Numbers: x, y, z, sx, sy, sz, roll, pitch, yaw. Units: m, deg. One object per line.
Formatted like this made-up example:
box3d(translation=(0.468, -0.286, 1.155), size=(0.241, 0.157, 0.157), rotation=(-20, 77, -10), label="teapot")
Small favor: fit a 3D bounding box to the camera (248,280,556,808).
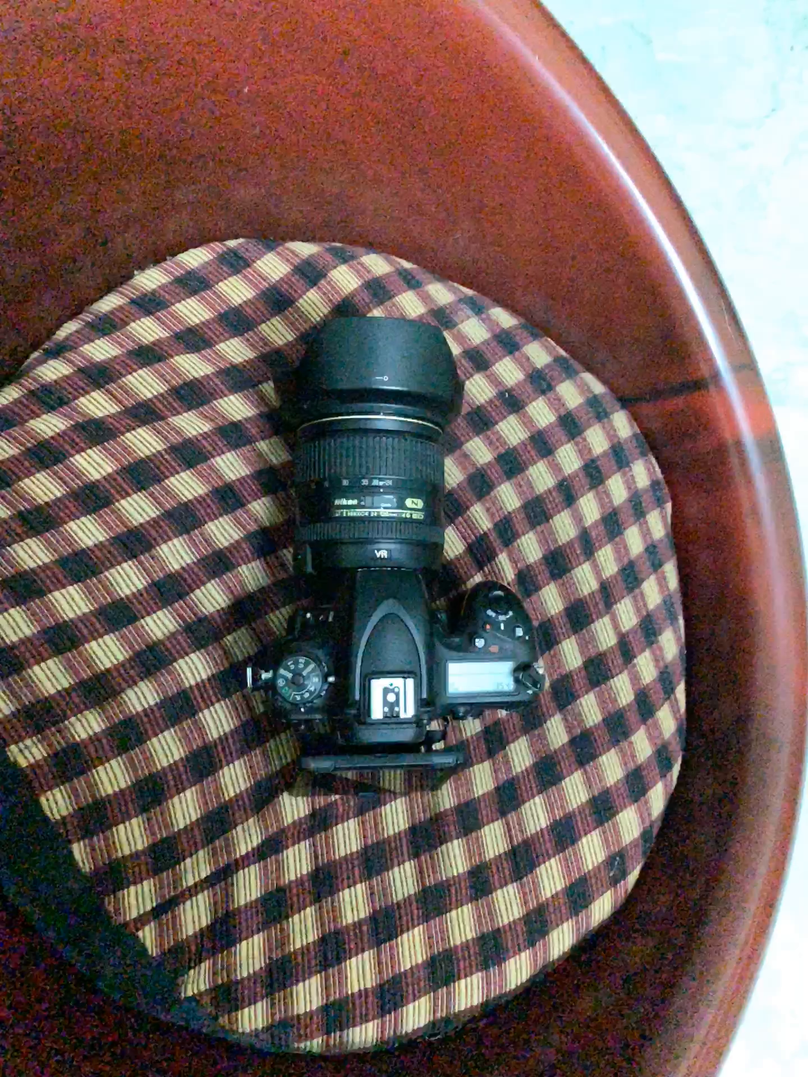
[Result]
box3d(translation=(-0.008, 0.006, 0.444), size=(0.140, 0.101, 0.250), rotation=(1, 79, -9), label="camera")
